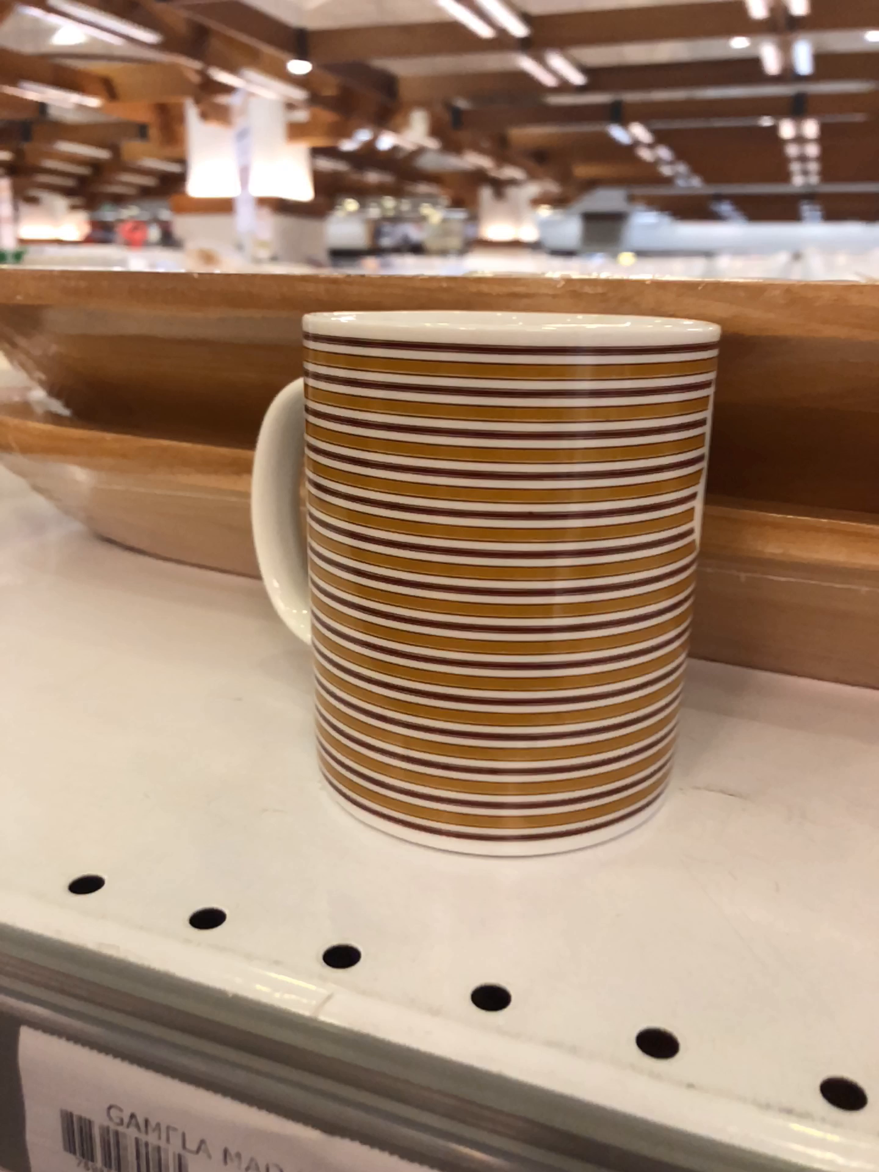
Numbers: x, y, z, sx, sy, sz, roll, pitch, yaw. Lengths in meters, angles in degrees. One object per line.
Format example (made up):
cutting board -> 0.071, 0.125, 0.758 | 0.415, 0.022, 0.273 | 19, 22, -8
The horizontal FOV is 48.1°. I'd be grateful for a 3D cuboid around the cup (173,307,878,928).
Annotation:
cup -> 0.010, -0.012, 0.212 | 0.090, 0.090, 0.120 | -10, 20, -33
